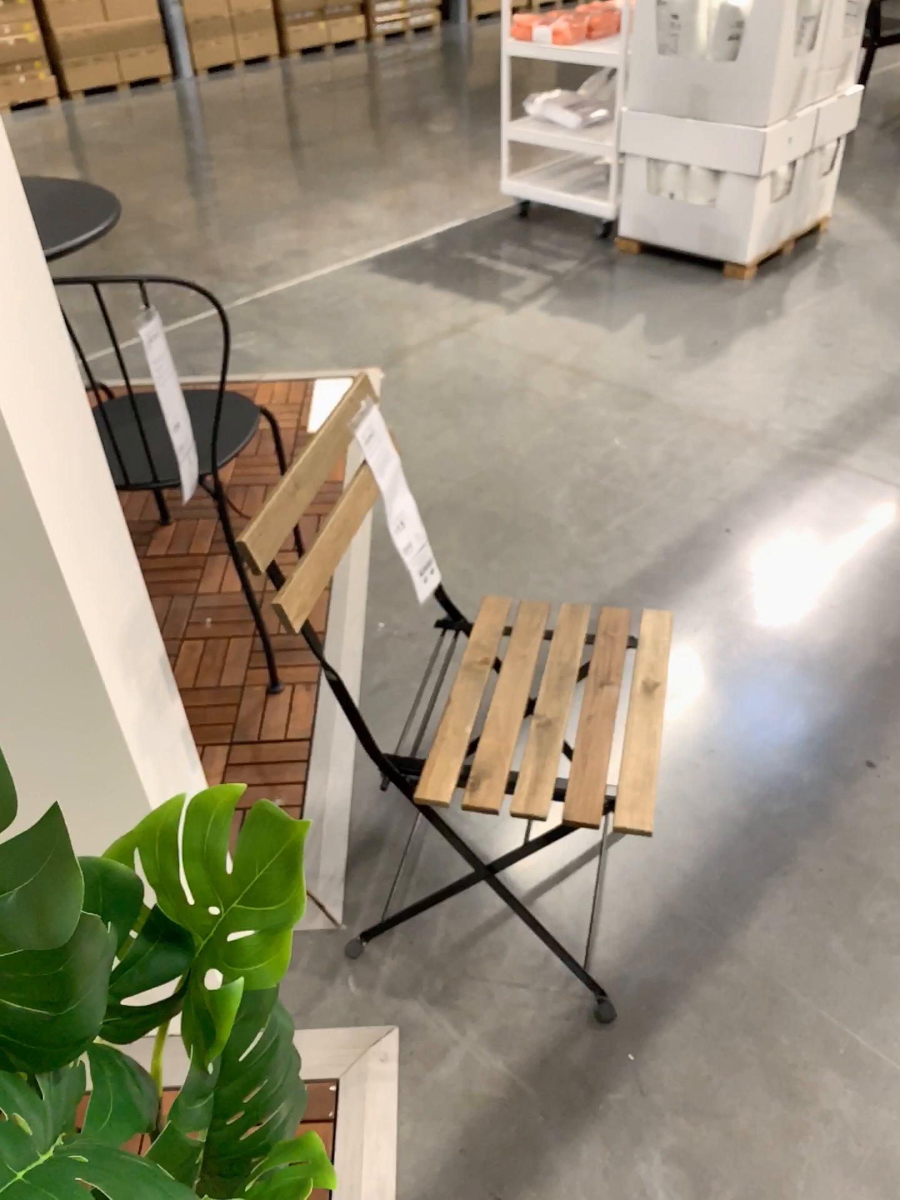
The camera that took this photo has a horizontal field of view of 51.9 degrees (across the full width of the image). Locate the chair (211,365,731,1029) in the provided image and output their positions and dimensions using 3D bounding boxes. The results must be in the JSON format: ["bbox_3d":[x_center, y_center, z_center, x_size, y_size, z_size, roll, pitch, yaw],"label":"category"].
[{"bbox_3d":[0.064,0.135,1.214,0.476,0.721,0.410,8,40,12],"label":"chair"}]

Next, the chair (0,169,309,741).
[{"bbox_3d":[-0.528,-0.247,1.652,0.398,0.821,0.559,-3,39,0],"label":"chair"}]
